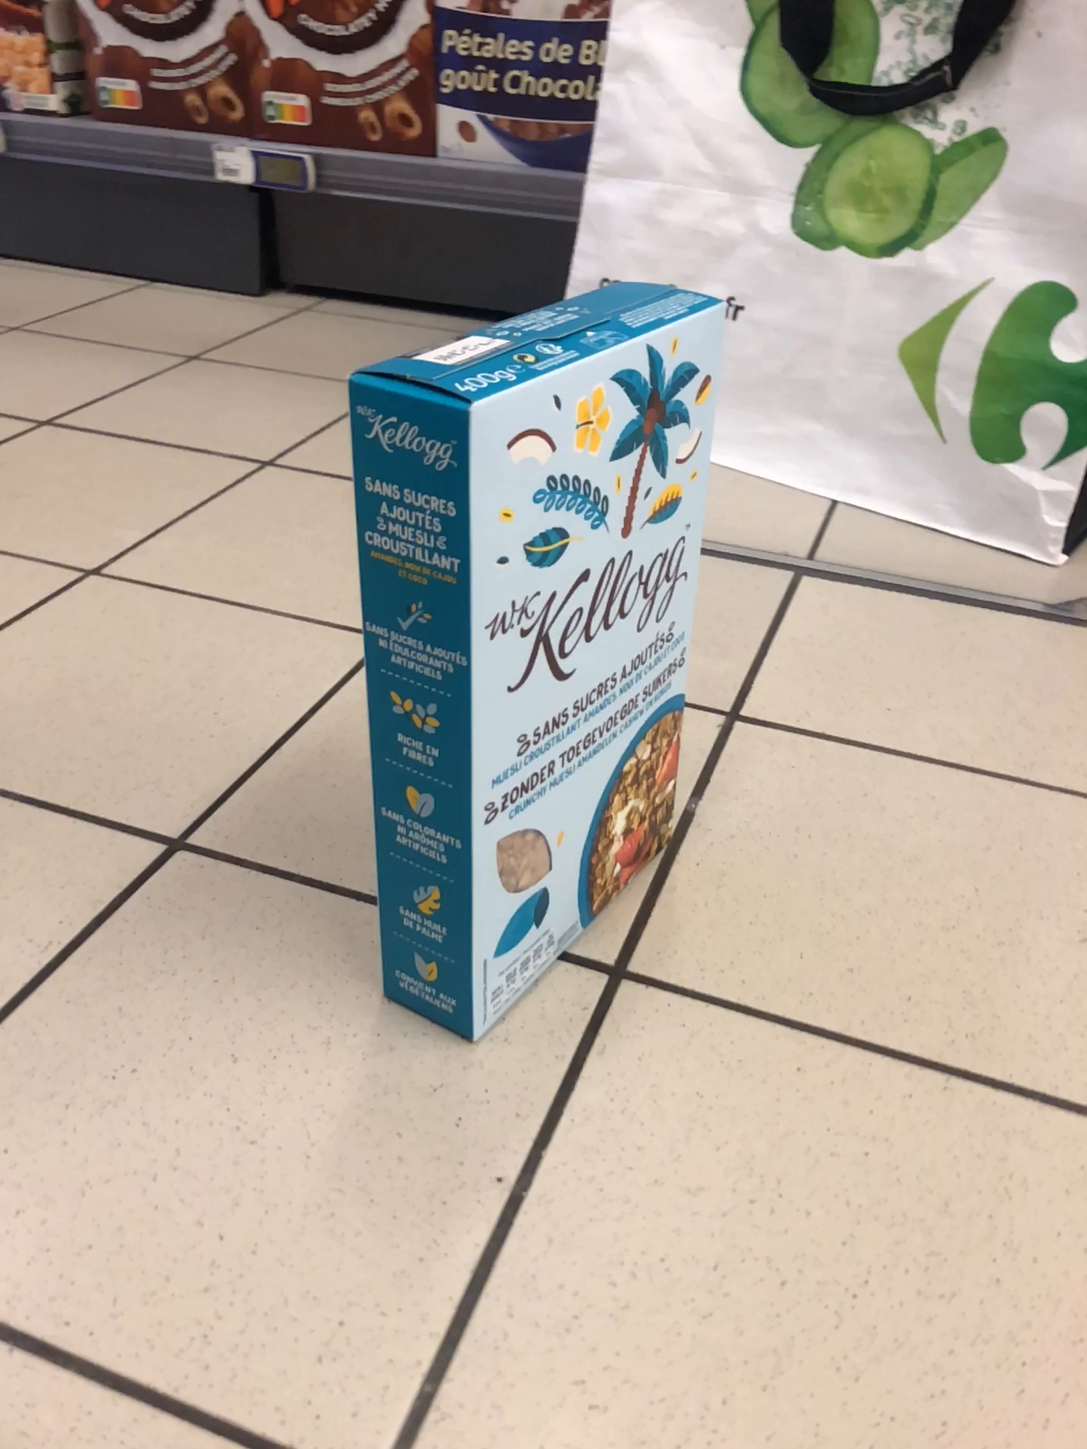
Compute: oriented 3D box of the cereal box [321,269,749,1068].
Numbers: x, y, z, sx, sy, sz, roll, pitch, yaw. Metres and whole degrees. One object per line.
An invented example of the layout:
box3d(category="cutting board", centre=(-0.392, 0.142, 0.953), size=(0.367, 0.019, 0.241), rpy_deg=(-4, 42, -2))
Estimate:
box3d(category="cereal box", centre=(0.001, -0.022, 0.429), size=(0.050, 0.238, 0.161), rpy_deg=(21, 36, 27))
